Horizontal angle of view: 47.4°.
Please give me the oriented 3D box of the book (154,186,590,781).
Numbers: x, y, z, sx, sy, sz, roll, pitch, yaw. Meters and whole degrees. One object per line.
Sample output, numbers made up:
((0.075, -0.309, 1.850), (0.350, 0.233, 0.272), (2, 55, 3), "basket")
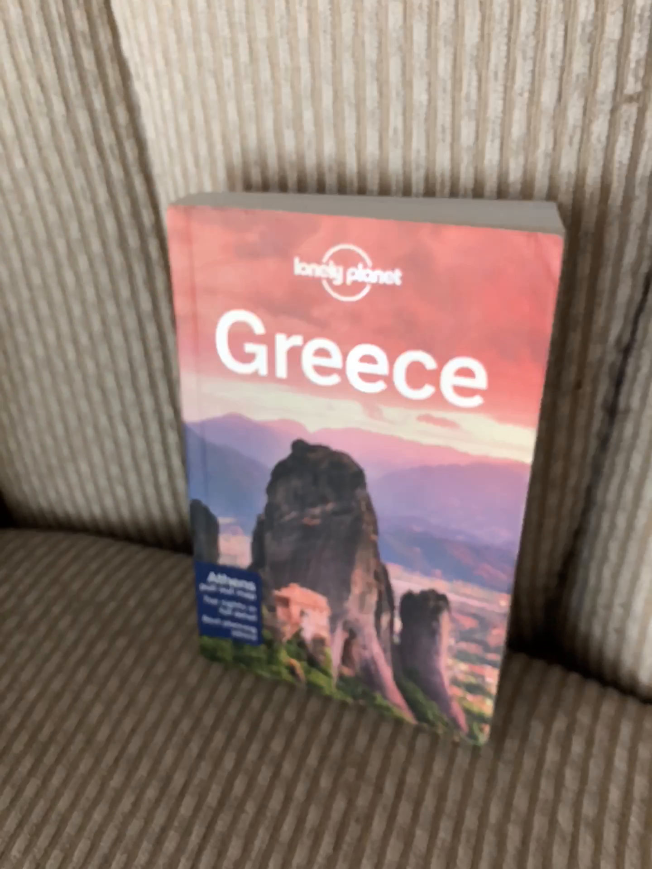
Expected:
((0.011, 0.018, 0.277), (0.133, 0.201, 0.041), (11, 26, 22), "book")
